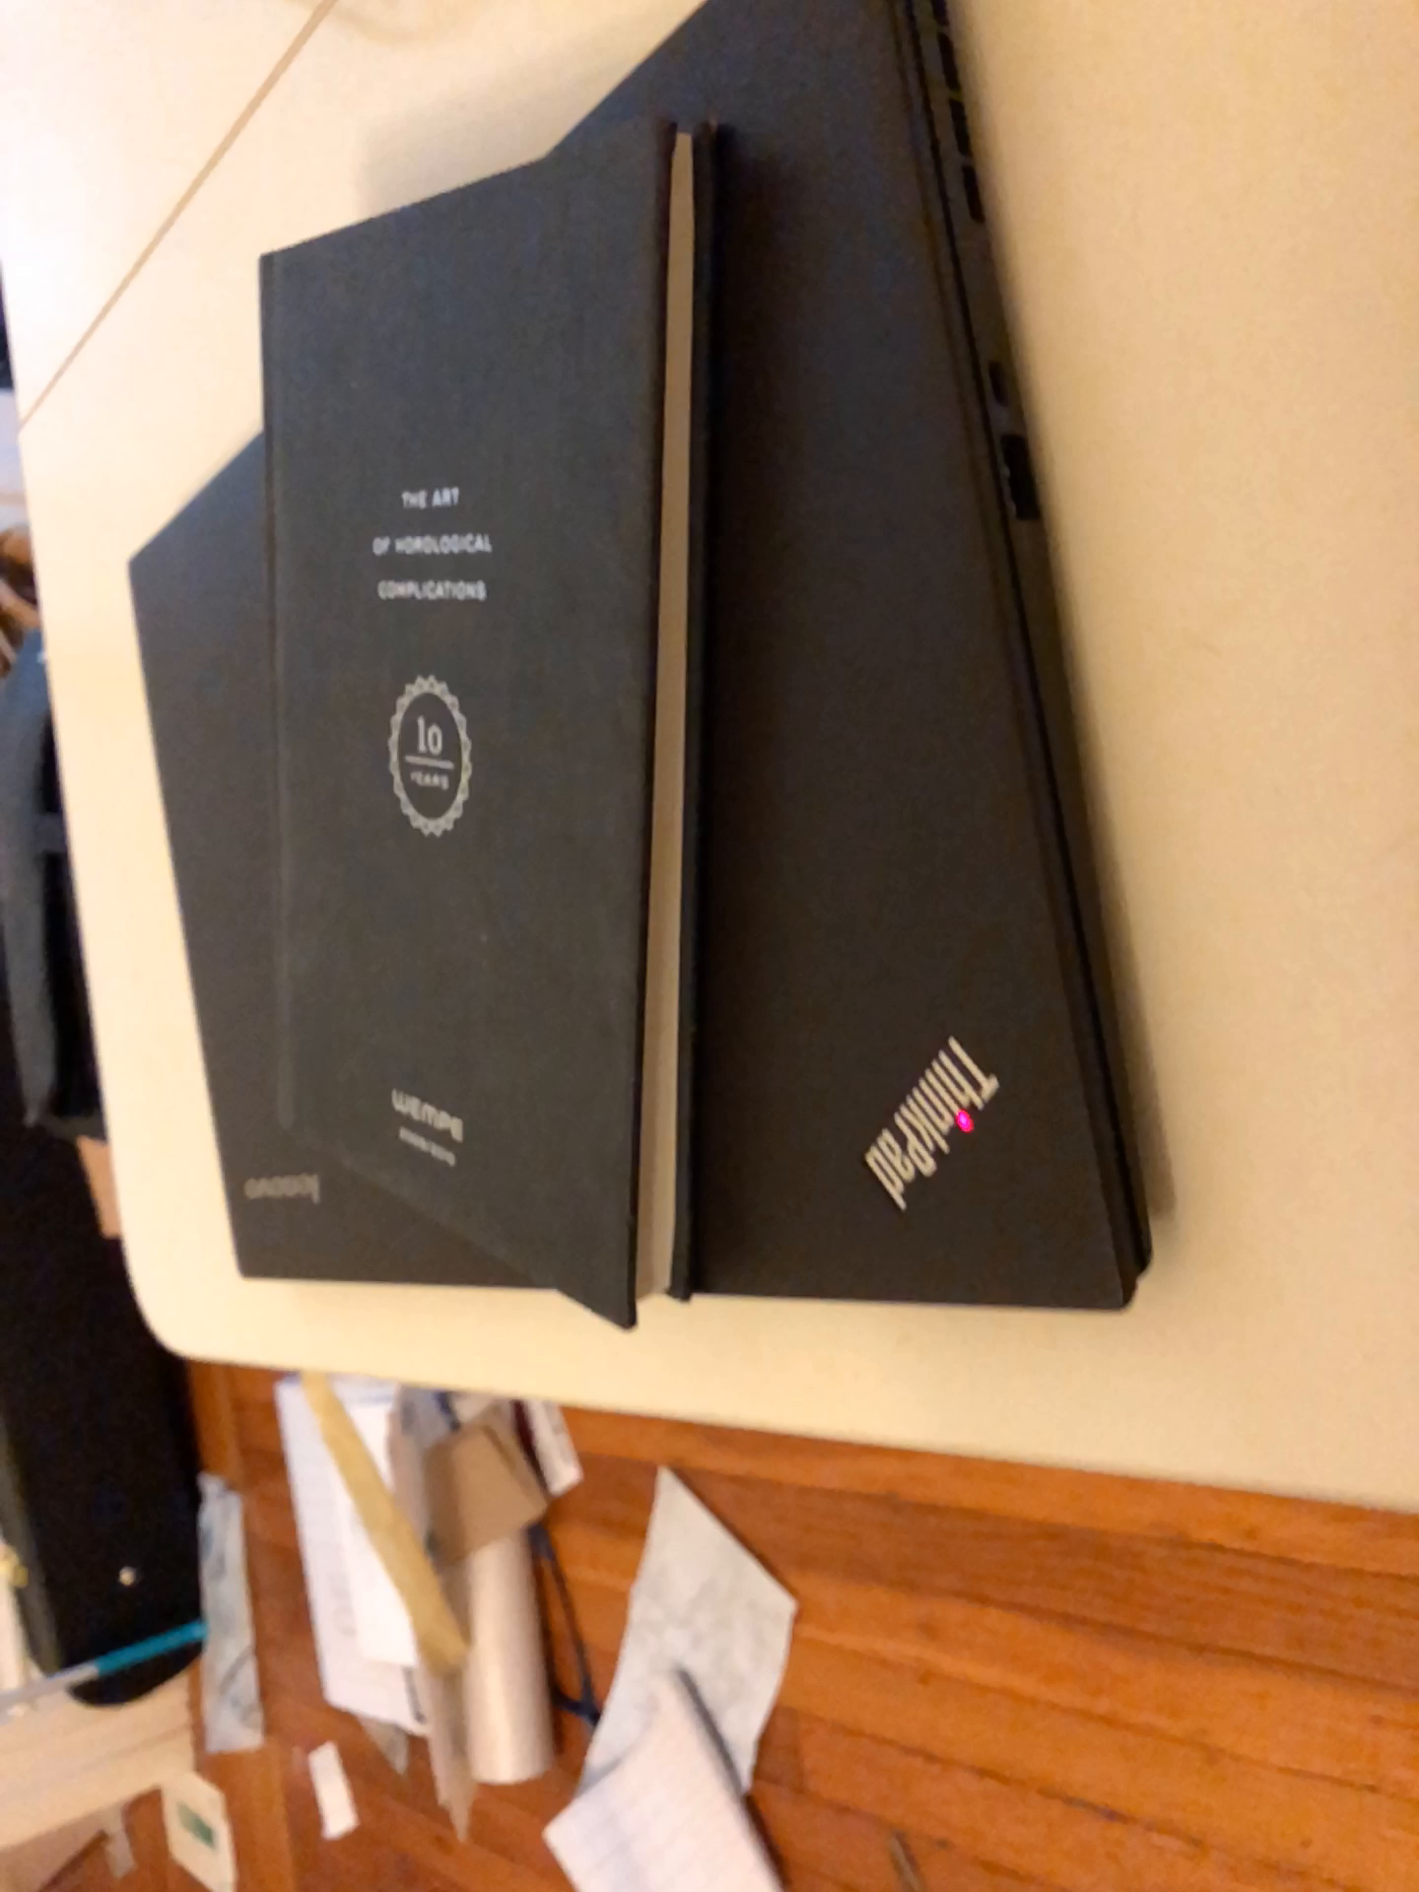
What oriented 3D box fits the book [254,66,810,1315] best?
[{"bbox_3d":[-0.052,-0.053,0.356,0.171,0.030,0.220,14,105,49],"label":"book"}]
